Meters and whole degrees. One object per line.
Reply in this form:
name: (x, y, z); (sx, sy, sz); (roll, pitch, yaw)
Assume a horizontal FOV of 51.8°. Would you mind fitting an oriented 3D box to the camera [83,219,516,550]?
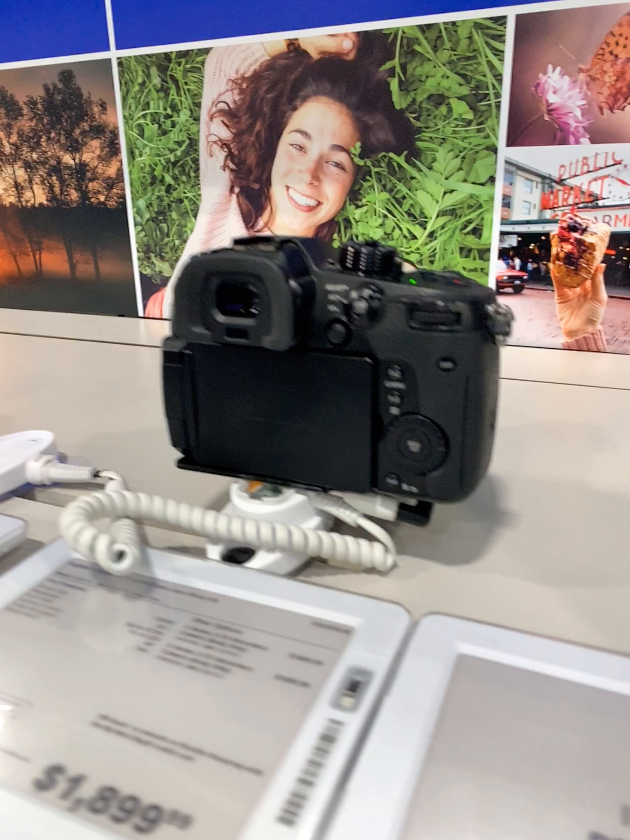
camera: (0.015, -0.042, 0.324); (0.140, 0.100, 0.201); (6, 22, 20)
